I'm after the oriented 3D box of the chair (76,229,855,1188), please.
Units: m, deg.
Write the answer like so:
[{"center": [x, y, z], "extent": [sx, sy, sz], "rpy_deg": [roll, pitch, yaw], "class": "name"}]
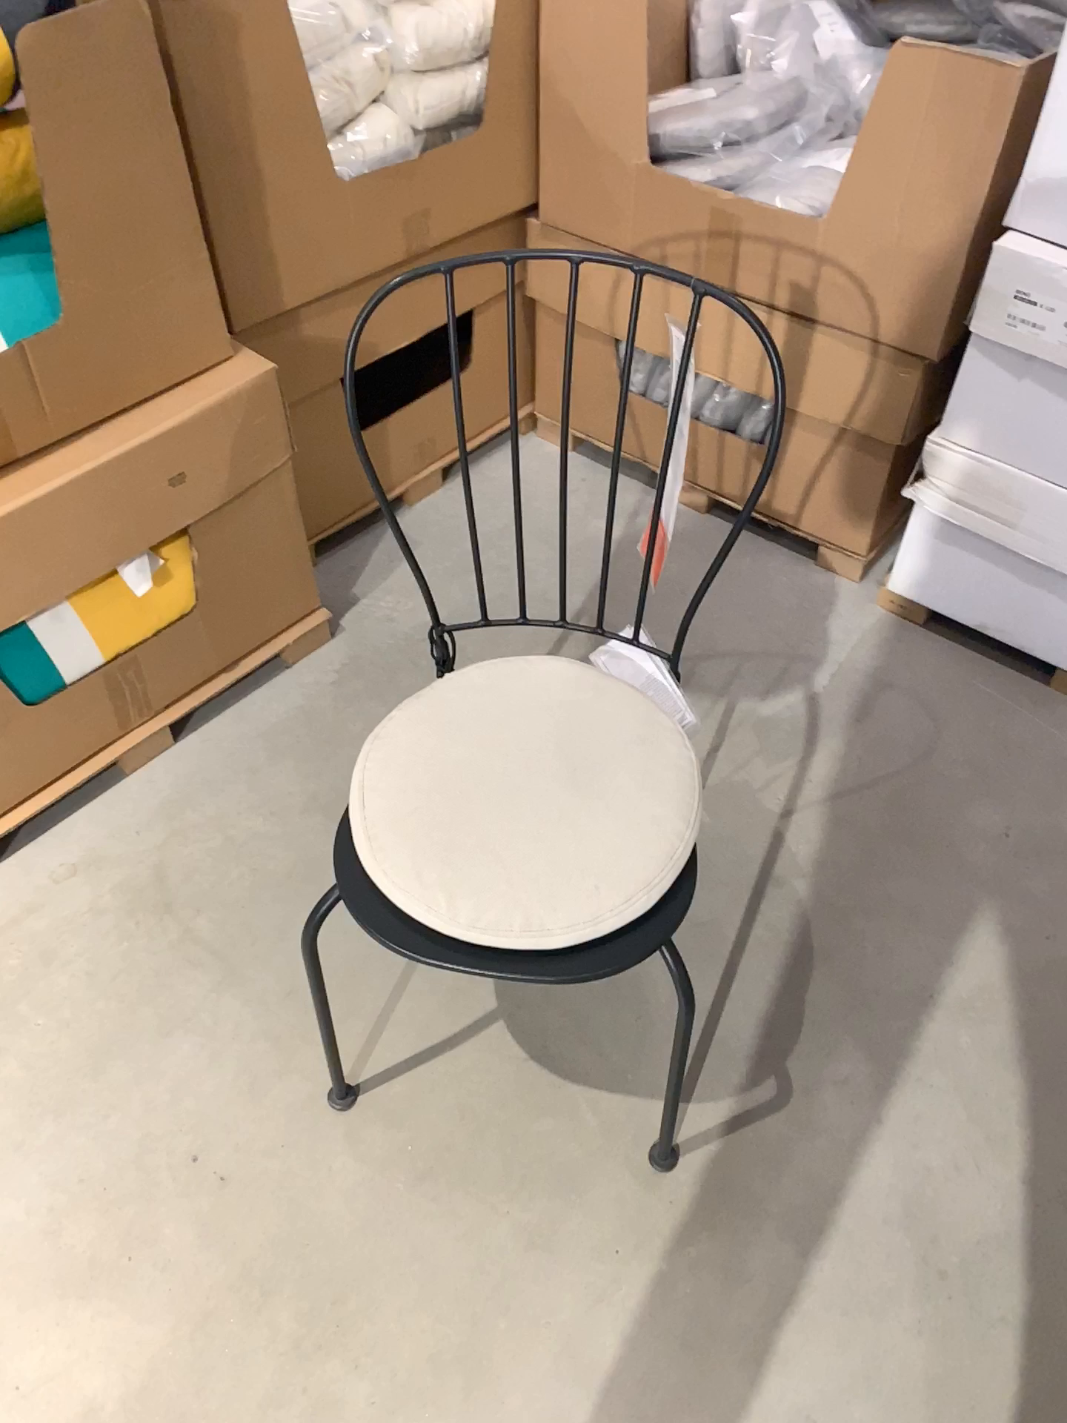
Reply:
[{"center": [-0.004, 0.043, 1.130], "extent": [0.480, 0.817, 0.521], "rpy_deg": [9, 49, 8], "class": "chair"}]
